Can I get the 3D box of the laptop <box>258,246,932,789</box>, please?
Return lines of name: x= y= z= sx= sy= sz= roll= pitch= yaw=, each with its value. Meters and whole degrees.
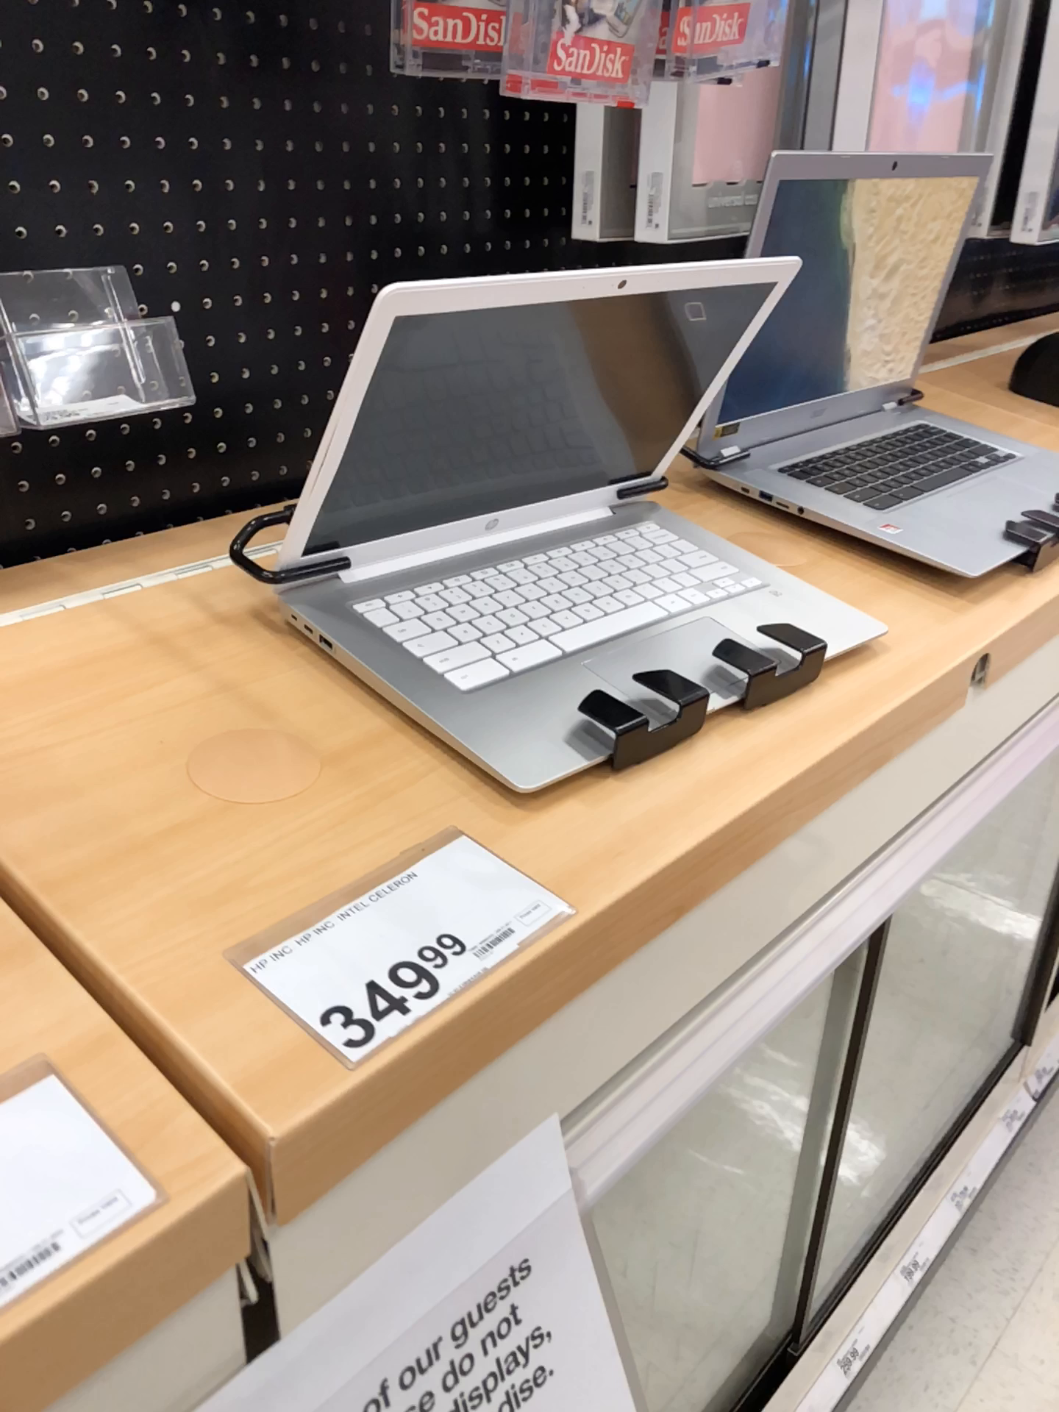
laptop: x=0.047 y=-0.135 z=0.668 sx=0.322 sy=0.172 sz=0.200 roll=-22 pitch=41 yaw=-39

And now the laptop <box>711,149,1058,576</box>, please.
laptop: x=0.348 y=-0.297 z=0.934 sx=0.321 sy=0.231 sz=0.230 roll=-24 pitch=39 yaw=-39
